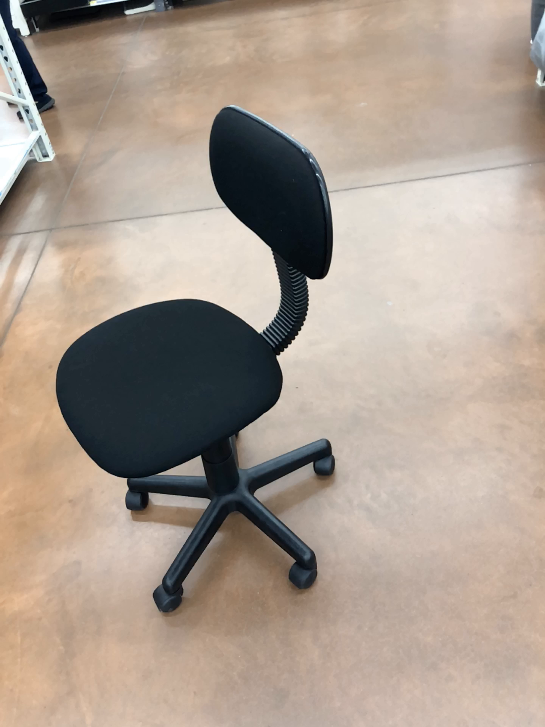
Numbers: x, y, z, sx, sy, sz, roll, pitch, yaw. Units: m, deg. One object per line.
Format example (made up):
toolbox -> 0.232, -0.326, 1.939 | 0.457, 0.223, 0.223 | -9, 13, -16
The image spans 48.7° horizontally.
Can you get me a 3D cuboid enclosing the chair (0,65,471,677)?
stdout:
chair -> -0.132, -0.012, 1.202 | 0.660, 0.797, 0.672 | -25, 44, -15
